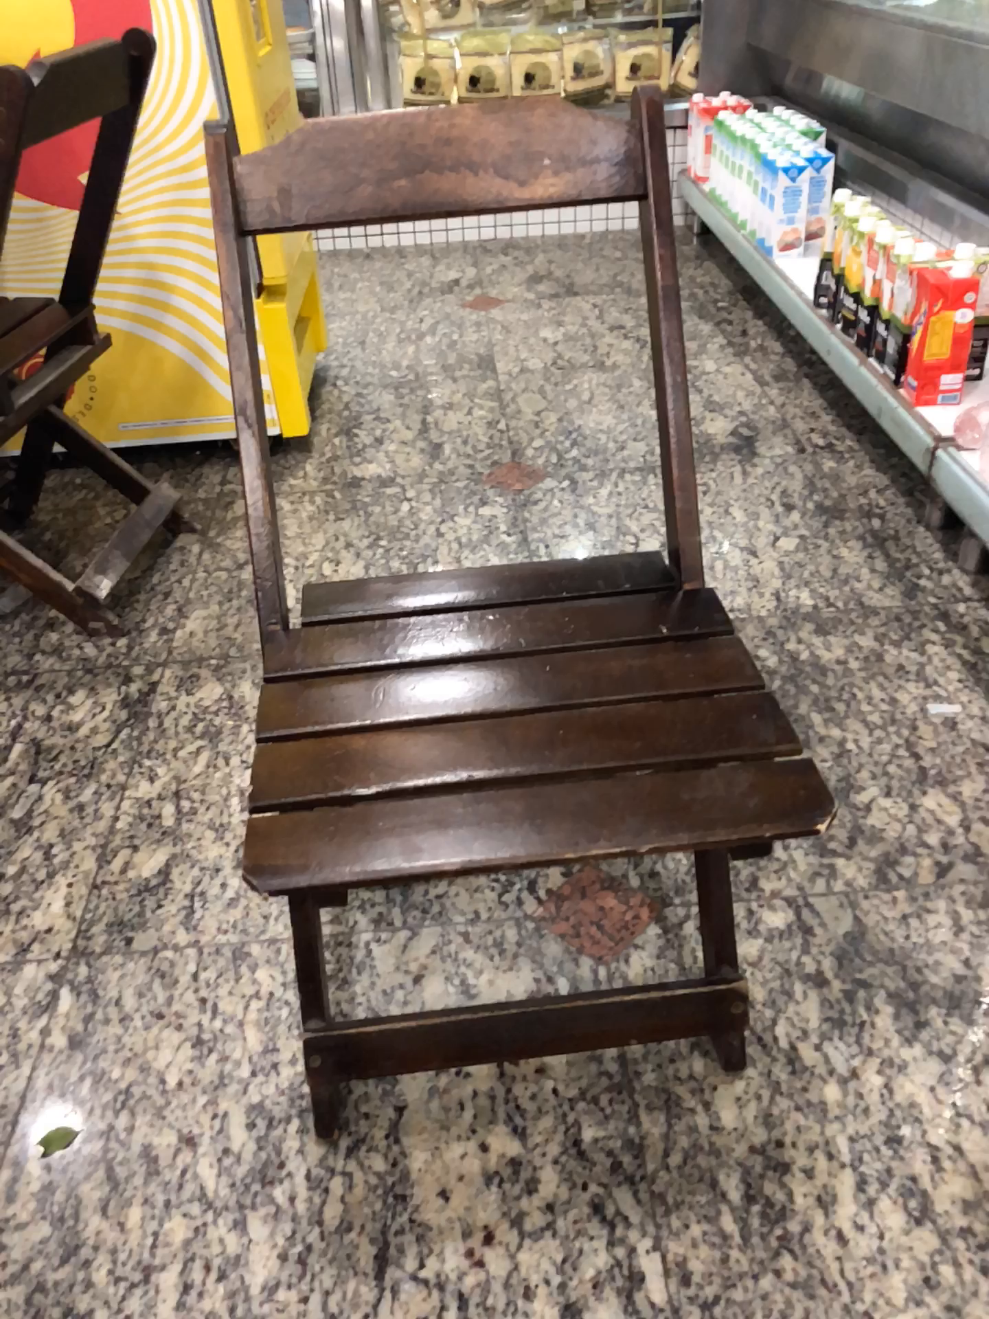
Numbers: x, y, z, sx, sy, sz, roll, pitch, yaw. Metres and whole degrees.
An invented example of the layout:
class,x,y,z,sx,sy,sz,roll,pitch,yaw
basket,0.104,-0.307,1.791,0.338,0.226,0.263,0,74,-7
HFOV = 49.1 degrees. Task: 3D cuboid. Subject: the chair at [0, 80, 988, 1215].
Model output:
class,x,y,z,sx,sy,sz,roll,pitch,yaw
chair,-0.007,-0.035,0.897,0.440,0.705,0.554,-7,34,-4
